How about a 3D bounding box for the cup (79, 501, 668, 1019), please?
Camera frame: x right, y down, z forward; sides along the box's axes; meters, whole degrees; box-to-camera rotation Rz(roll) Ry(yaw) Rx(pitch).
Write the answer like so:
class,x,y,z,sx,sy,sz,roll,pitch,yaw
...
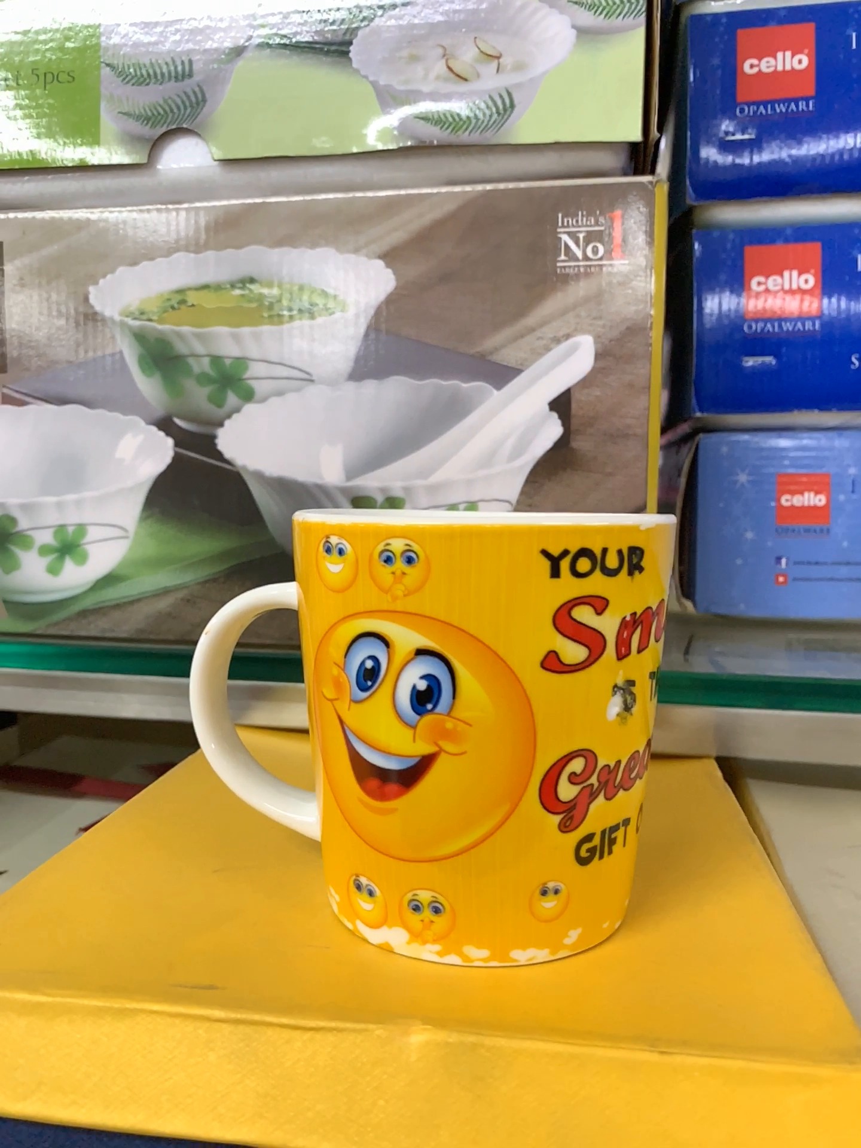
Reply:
class,x,y,z,sx,sy,sz,roll,pitch,yaw
cup,-0.011,0.030,0.217,0.120,0.090,0.070,3,7,23
